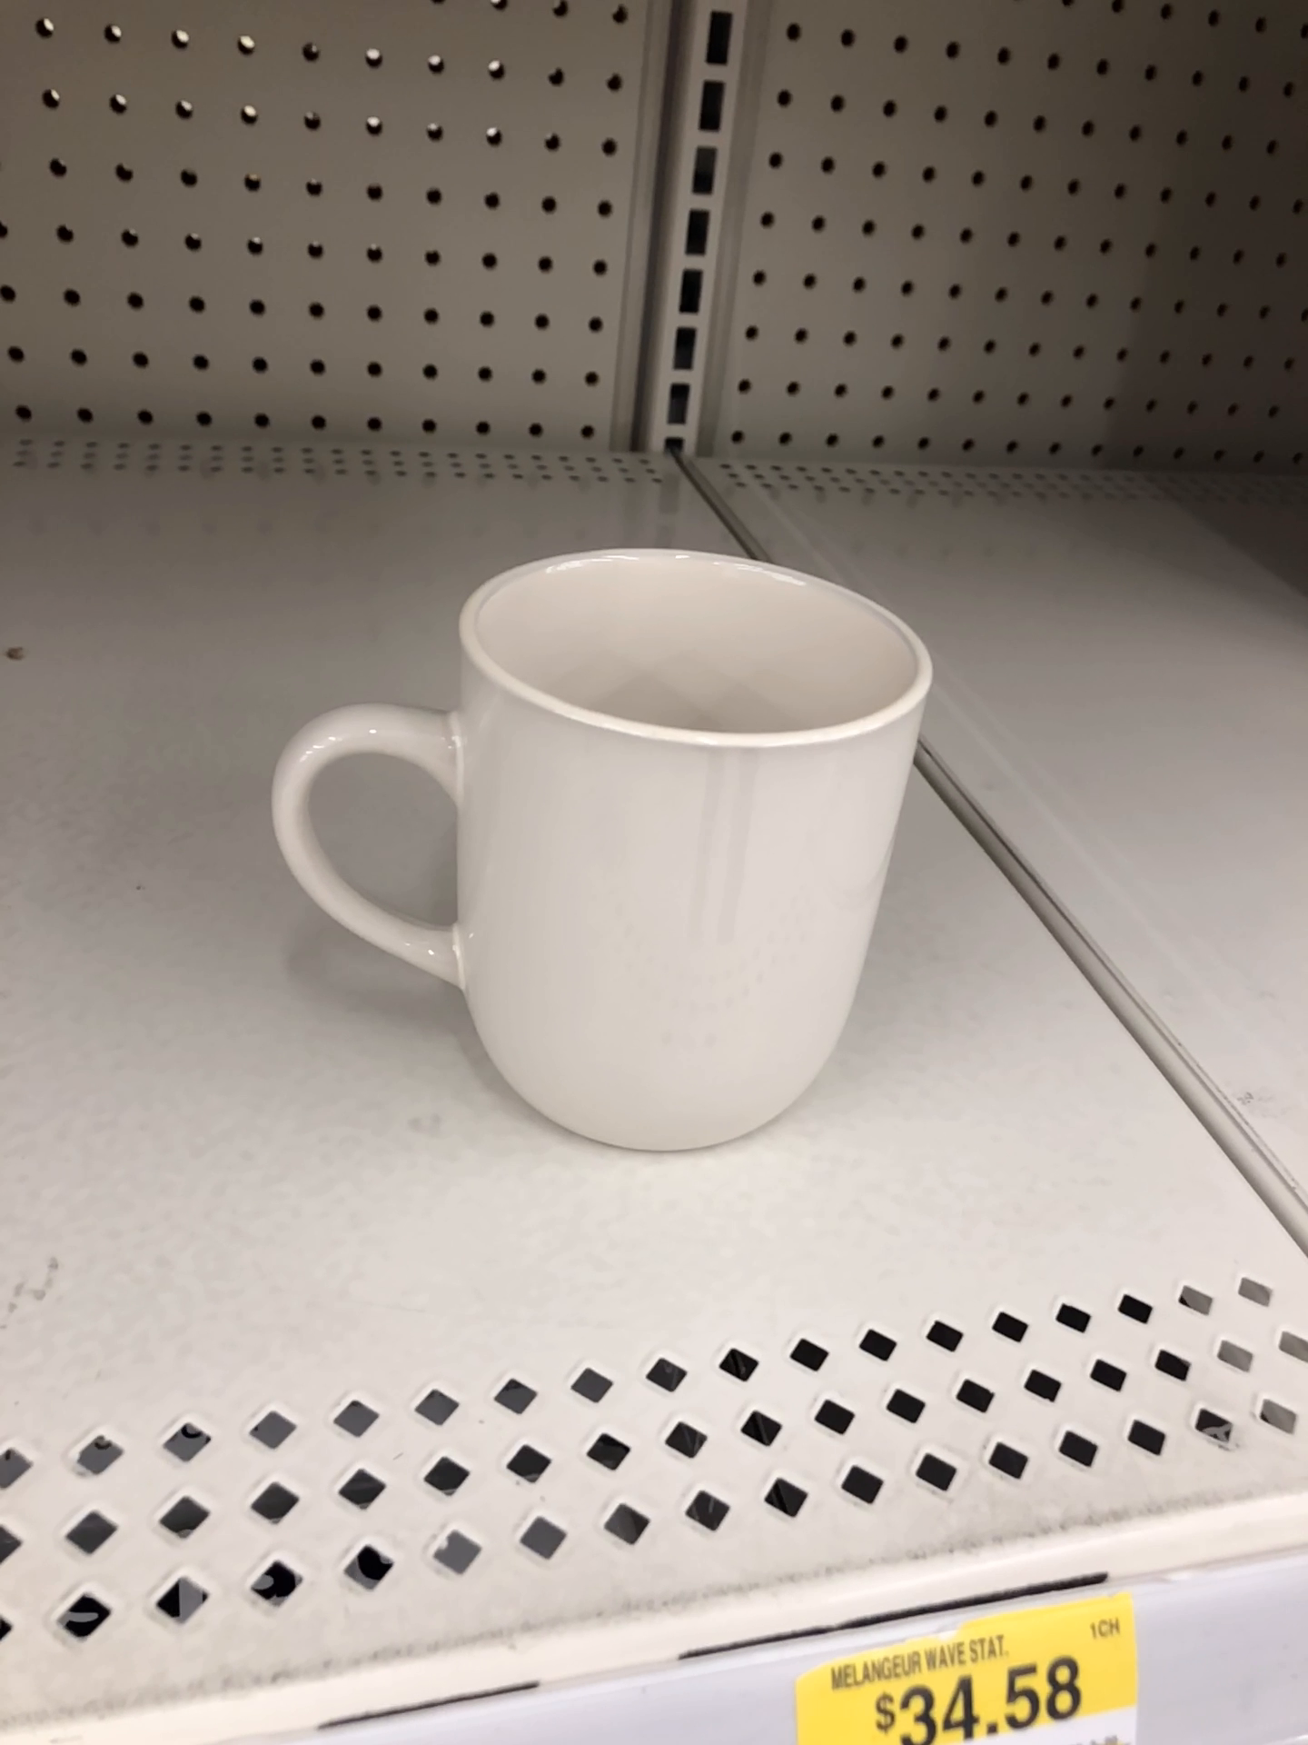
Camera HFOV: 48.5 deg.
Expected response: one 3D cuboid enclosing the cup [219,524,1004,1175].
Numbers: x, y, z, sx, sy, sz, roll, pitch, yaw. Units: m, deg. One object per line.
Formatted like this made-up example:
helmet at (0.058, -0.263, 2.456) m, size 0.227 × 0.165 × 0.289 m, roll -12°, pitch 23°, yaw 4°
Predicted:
cup at (-0.013, -0.006, 0.282) m, size 0.121 × 0.090 × 0.087 m, roll 1°, pitch 31°, yaw -9°
